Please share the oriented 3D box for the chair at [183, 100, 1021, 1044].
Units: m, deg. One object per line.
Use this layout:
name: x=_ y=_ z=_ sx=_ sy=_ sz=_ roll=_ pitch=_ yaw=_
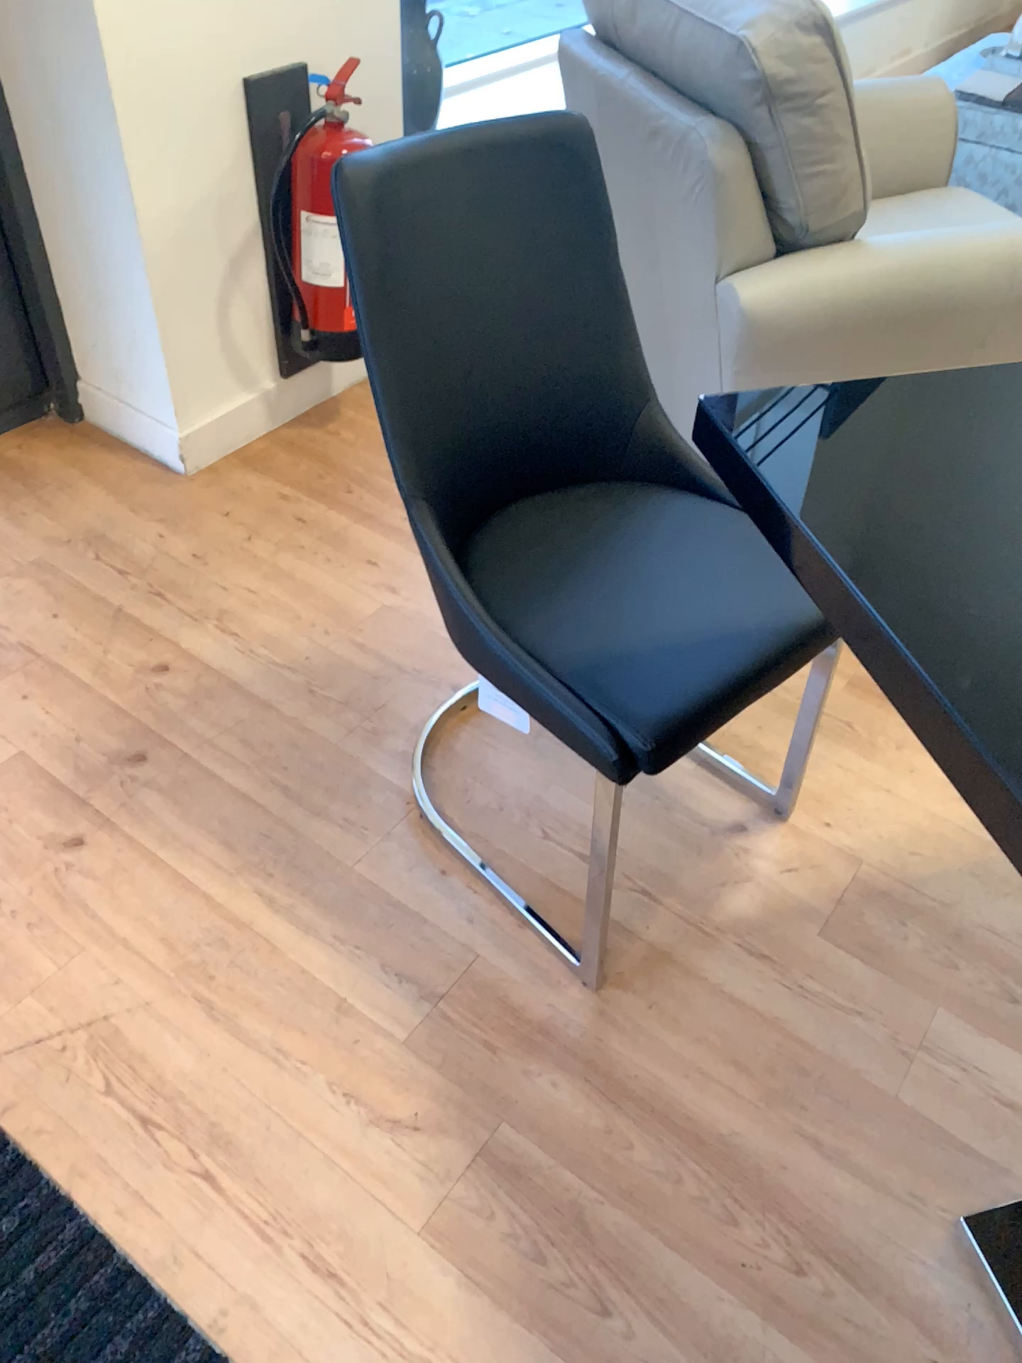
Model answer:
chair: x=0.071 y=-0.147 z=1.256 sx=0.632 sy=0.812 sz=0.508 roll=33 pitch=50 yaw=30
